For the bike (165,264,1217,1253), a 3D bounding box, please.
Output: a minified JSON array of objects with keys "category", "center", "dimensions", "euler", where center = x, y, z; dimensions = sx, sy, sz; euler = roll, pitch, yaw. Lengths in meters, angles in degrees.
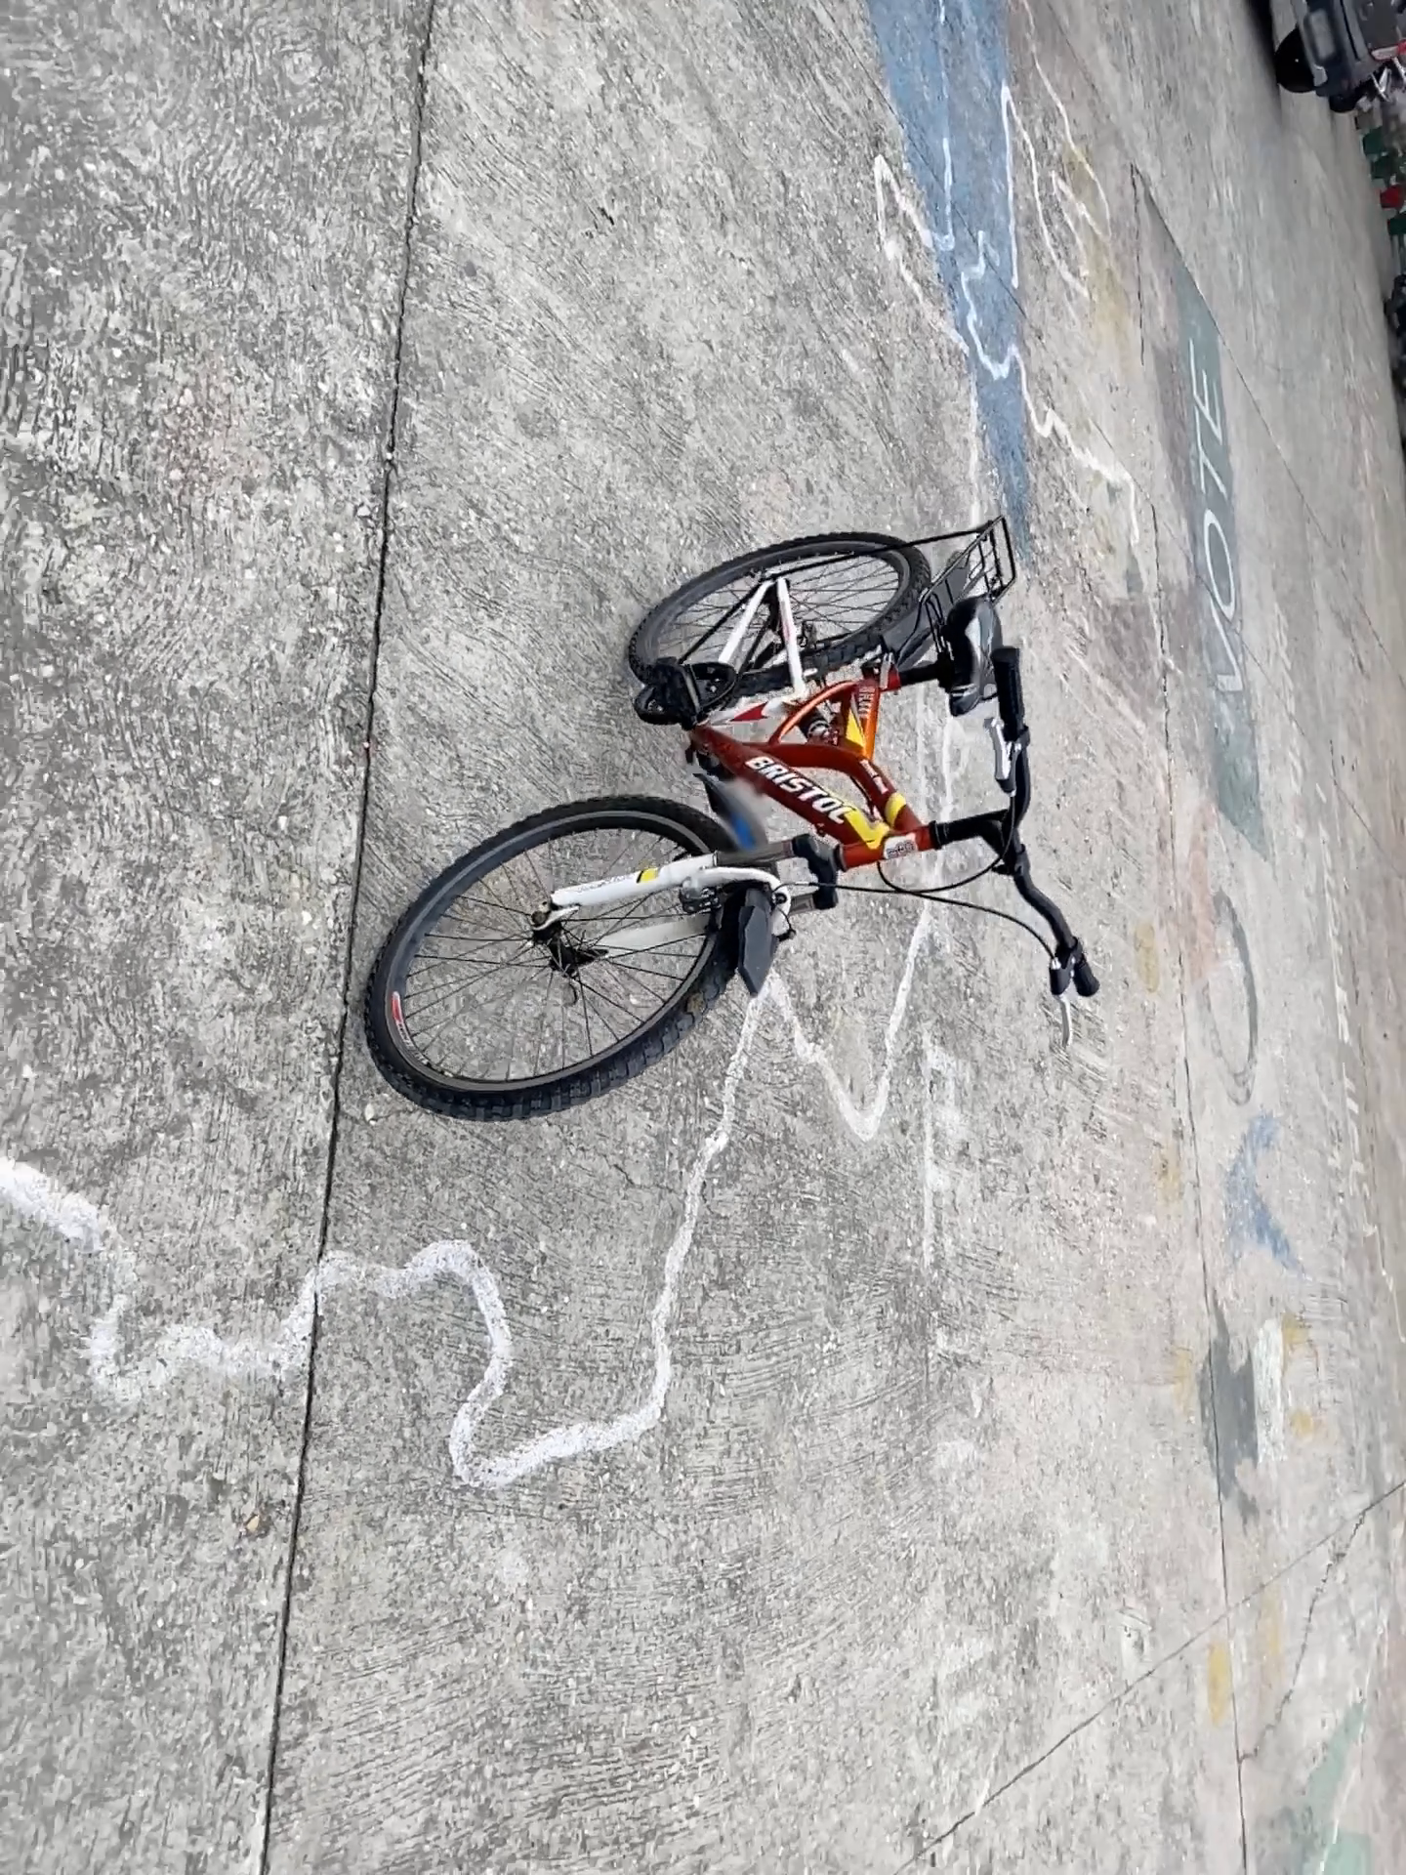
[{"category":"bike","center":[0.131,-0.304,2.195],"dimensions":[0.585,0.976,1.517],"euler":[59,39,-31]}]
